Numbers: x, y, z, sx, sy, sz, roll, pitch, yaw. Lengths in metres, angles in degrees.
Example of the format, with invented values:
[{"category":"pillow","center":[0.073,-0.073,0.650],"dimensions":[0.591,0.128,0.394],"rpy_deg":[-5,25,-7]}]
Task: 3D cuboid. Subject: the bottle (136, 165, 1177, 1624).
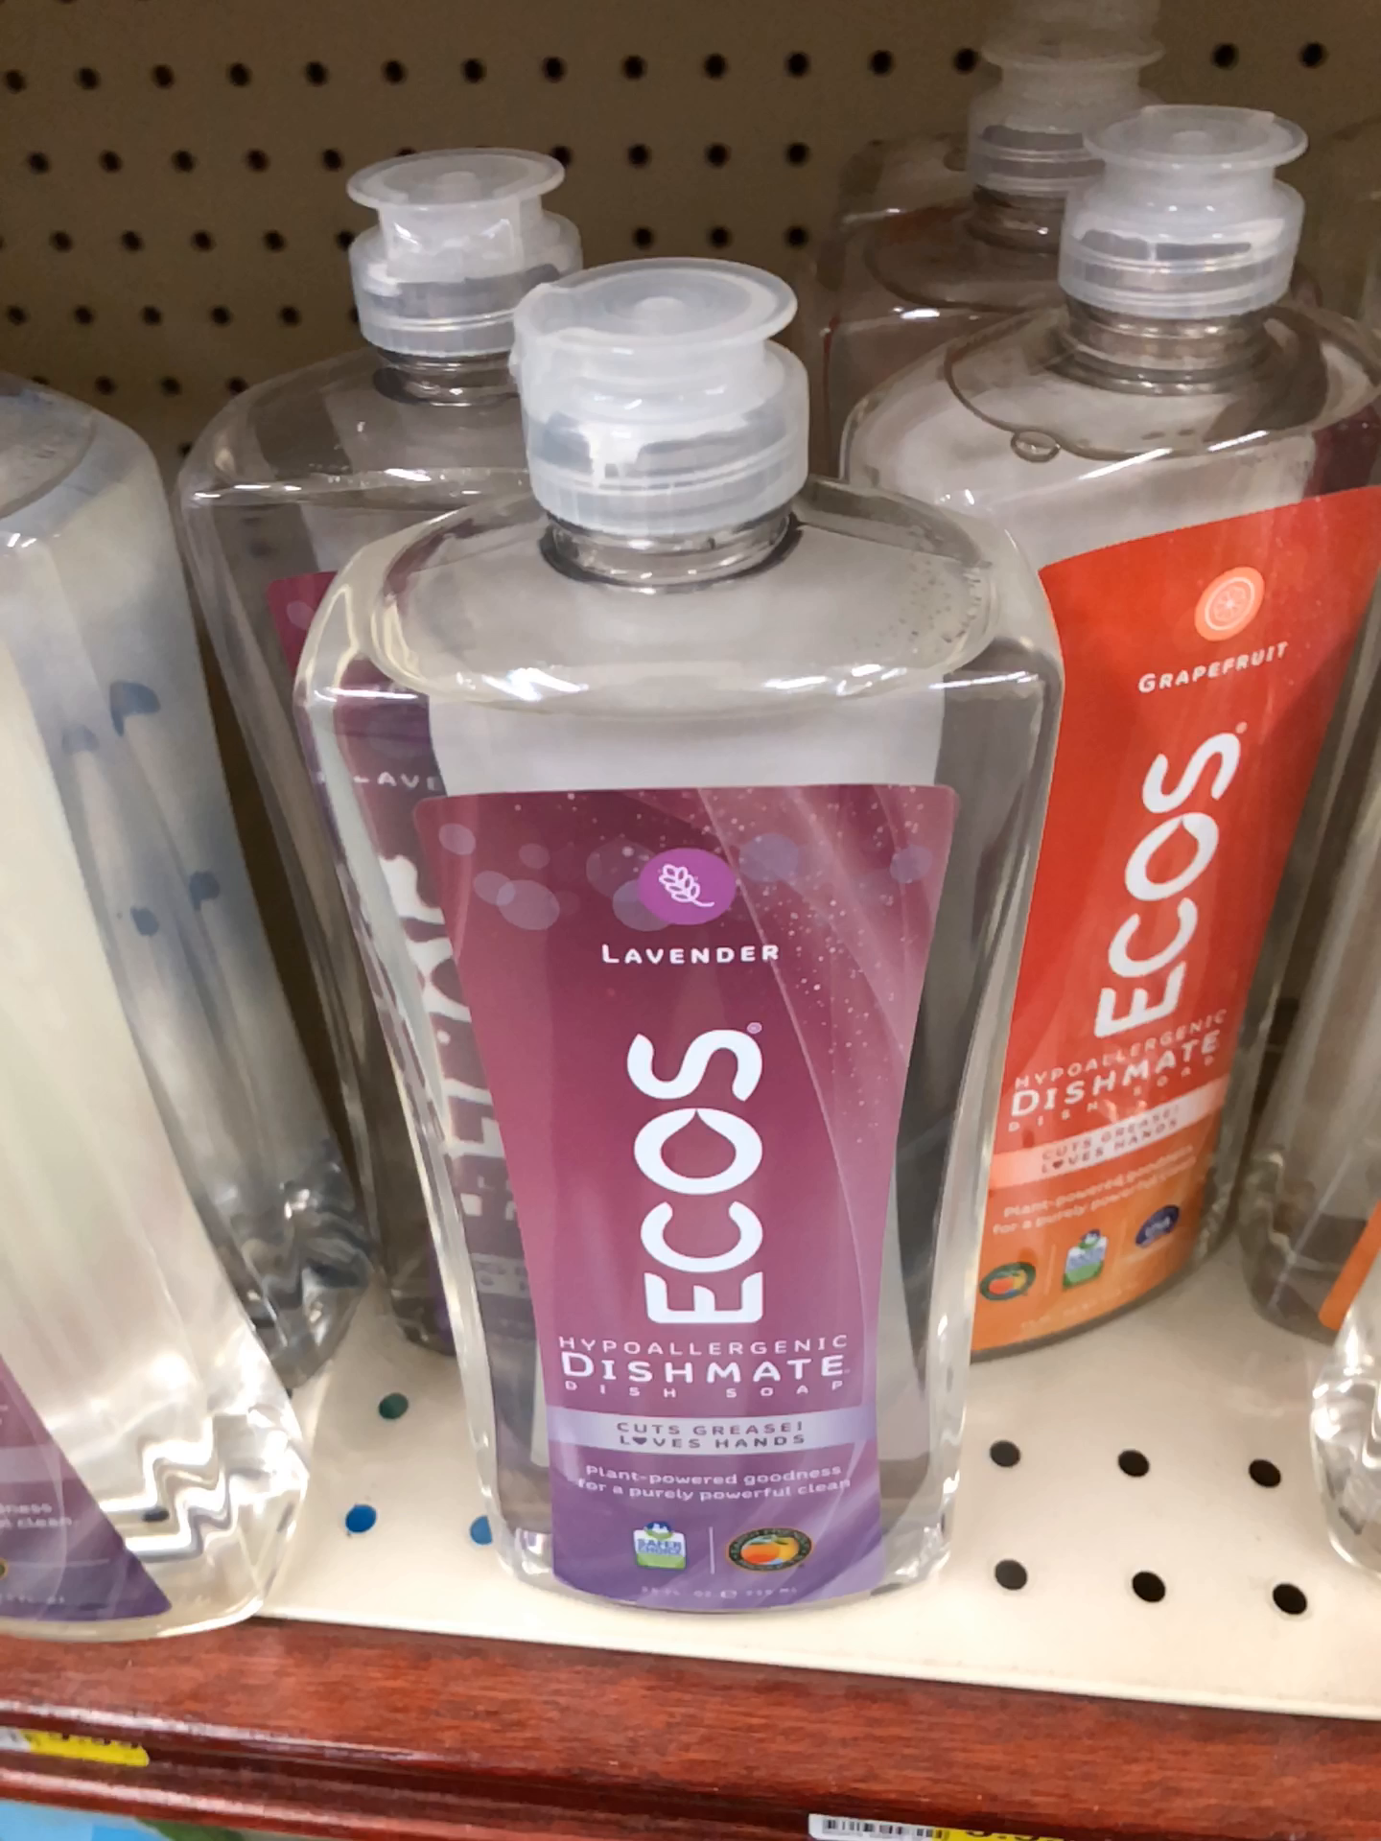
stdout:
[{"category":"bottle","center":[0.002,0.026,0.232],"dimensions":[0.090,0.244,0.048],"rpy_deg":[0,42,3]}]
